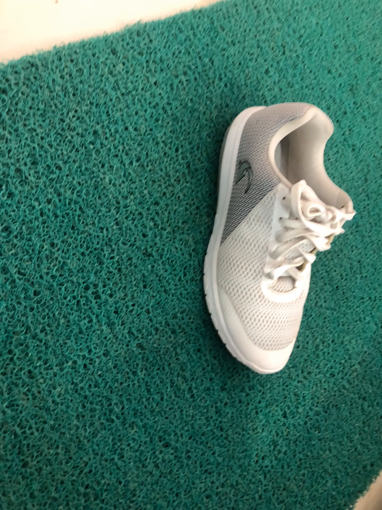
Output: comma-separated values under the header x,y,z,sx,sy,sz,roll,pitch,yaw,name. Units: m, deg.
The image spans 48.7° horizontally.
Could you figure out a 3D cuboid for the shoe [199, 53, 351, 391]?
x,y,z,sx,sy,sz,roll,pitch,yaw,name
0.084,-0.026,0.426,0.101,0.099,0.290,6,84,-31,shoe
